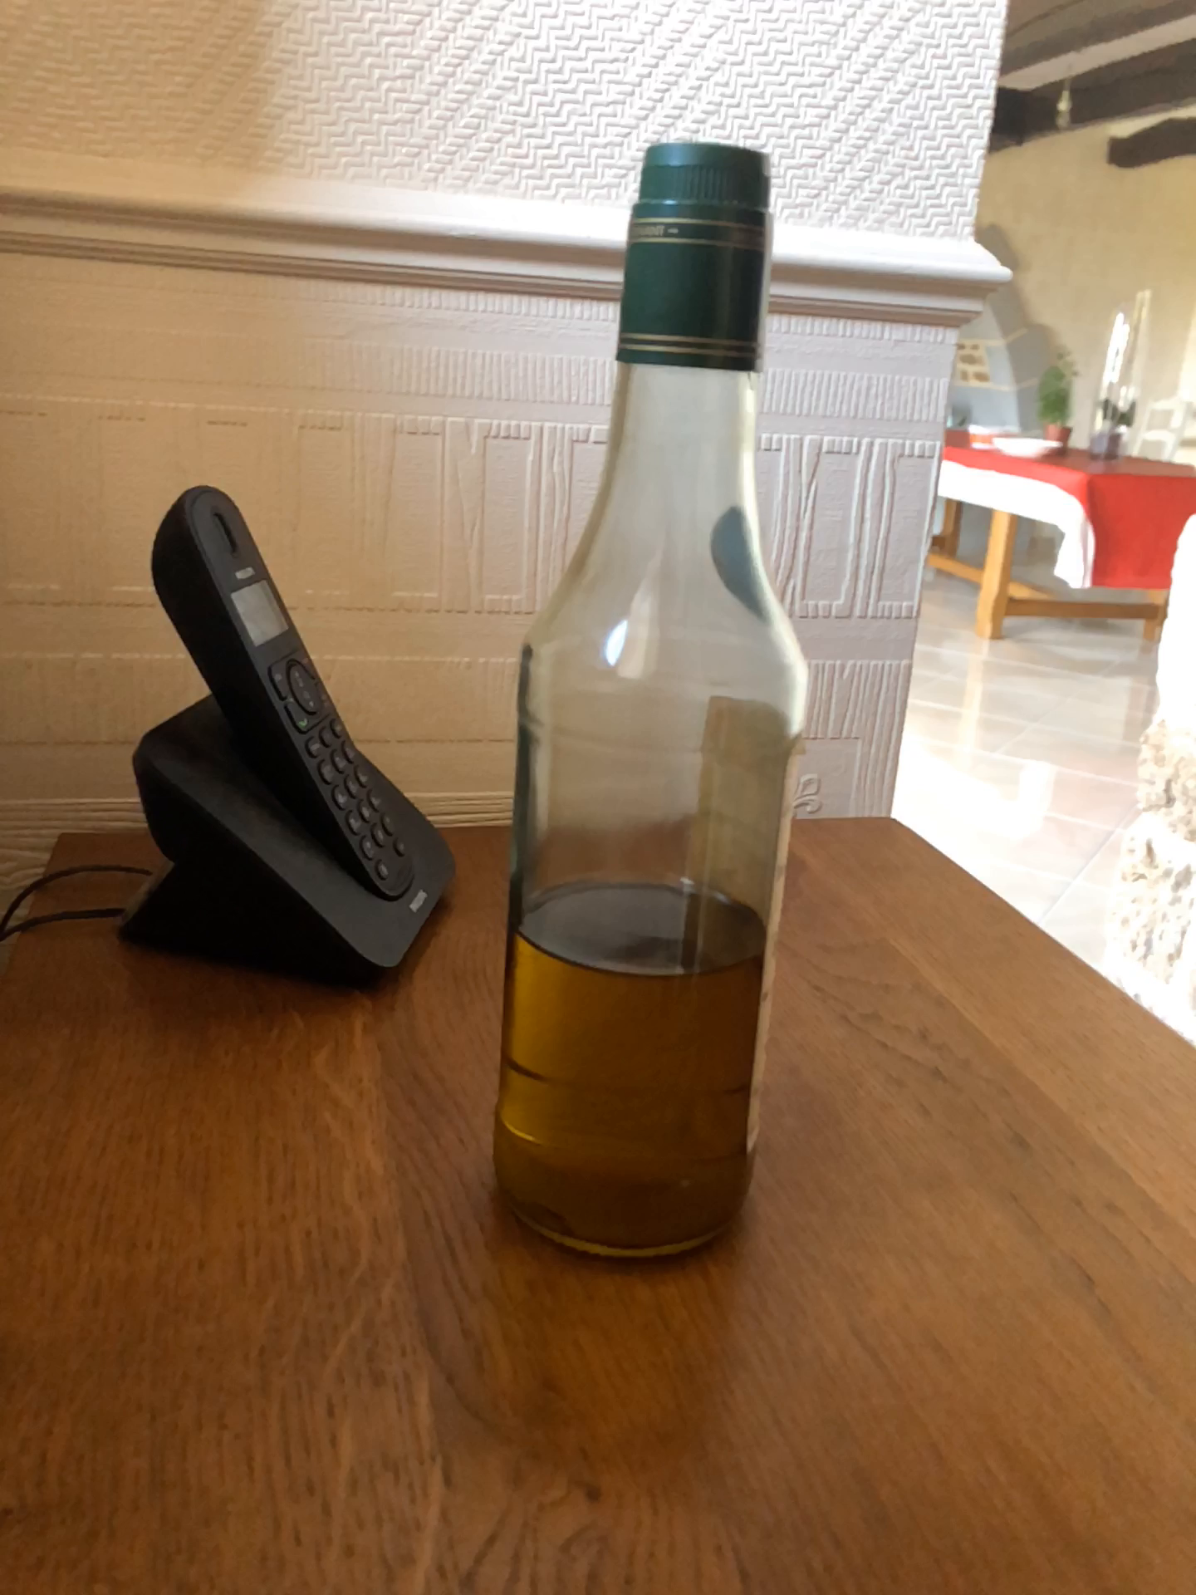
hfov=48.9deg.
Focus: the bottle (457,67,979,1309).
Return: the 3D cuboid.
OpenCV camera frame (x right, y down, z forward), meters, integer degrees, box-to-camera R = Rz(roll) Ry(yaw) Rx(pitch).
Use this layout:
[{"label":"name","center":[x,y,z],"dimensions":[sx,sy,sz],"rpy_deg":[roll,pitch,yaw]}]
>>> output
[{"label":"bottle","center":[0.016,-0.016,0.309],"dimensions":[0.080,0.259,0.070],"rpy_deg":[-1,19,-15]}]
